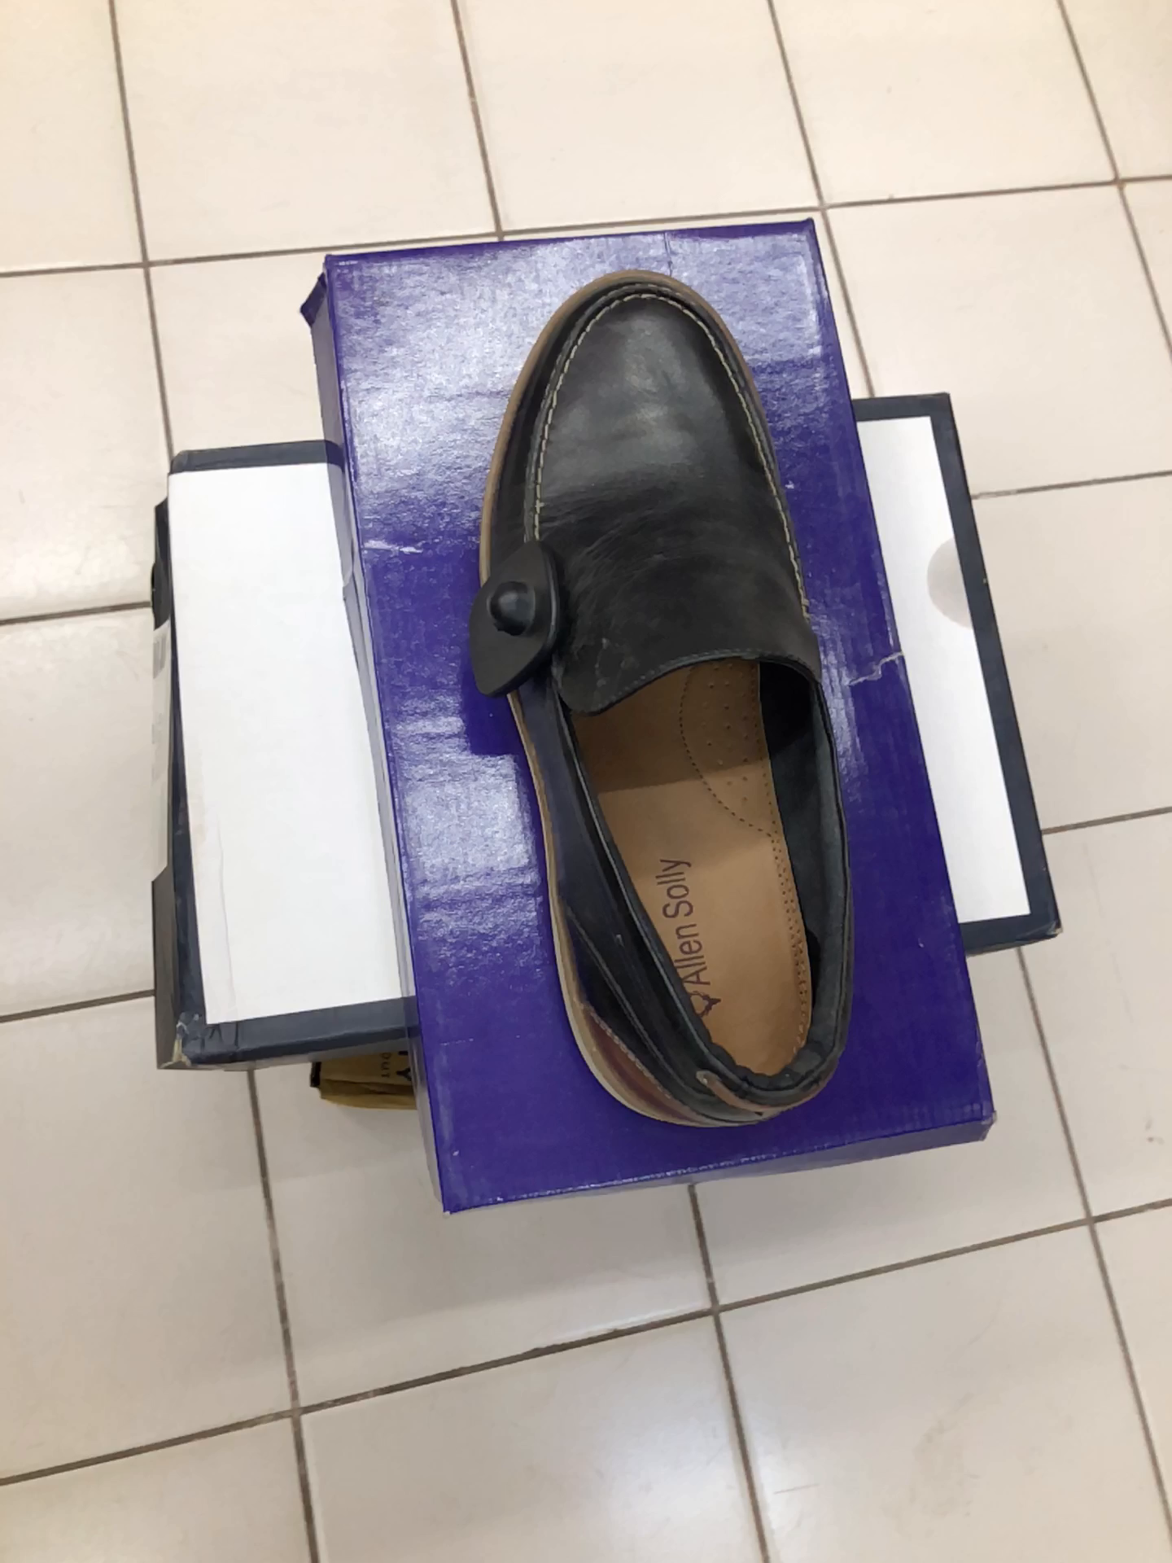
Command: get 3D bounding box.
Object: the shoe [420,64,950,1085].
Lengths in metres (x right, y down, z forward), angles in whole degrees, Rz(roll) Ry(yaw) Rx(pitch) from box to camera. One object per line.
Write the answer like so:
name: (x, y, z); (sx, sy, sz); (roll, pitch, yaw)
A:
shoe: (0.016, -0.063, 0.421); (0.100, 0.110, 0.300); (-7, 77, -9)
